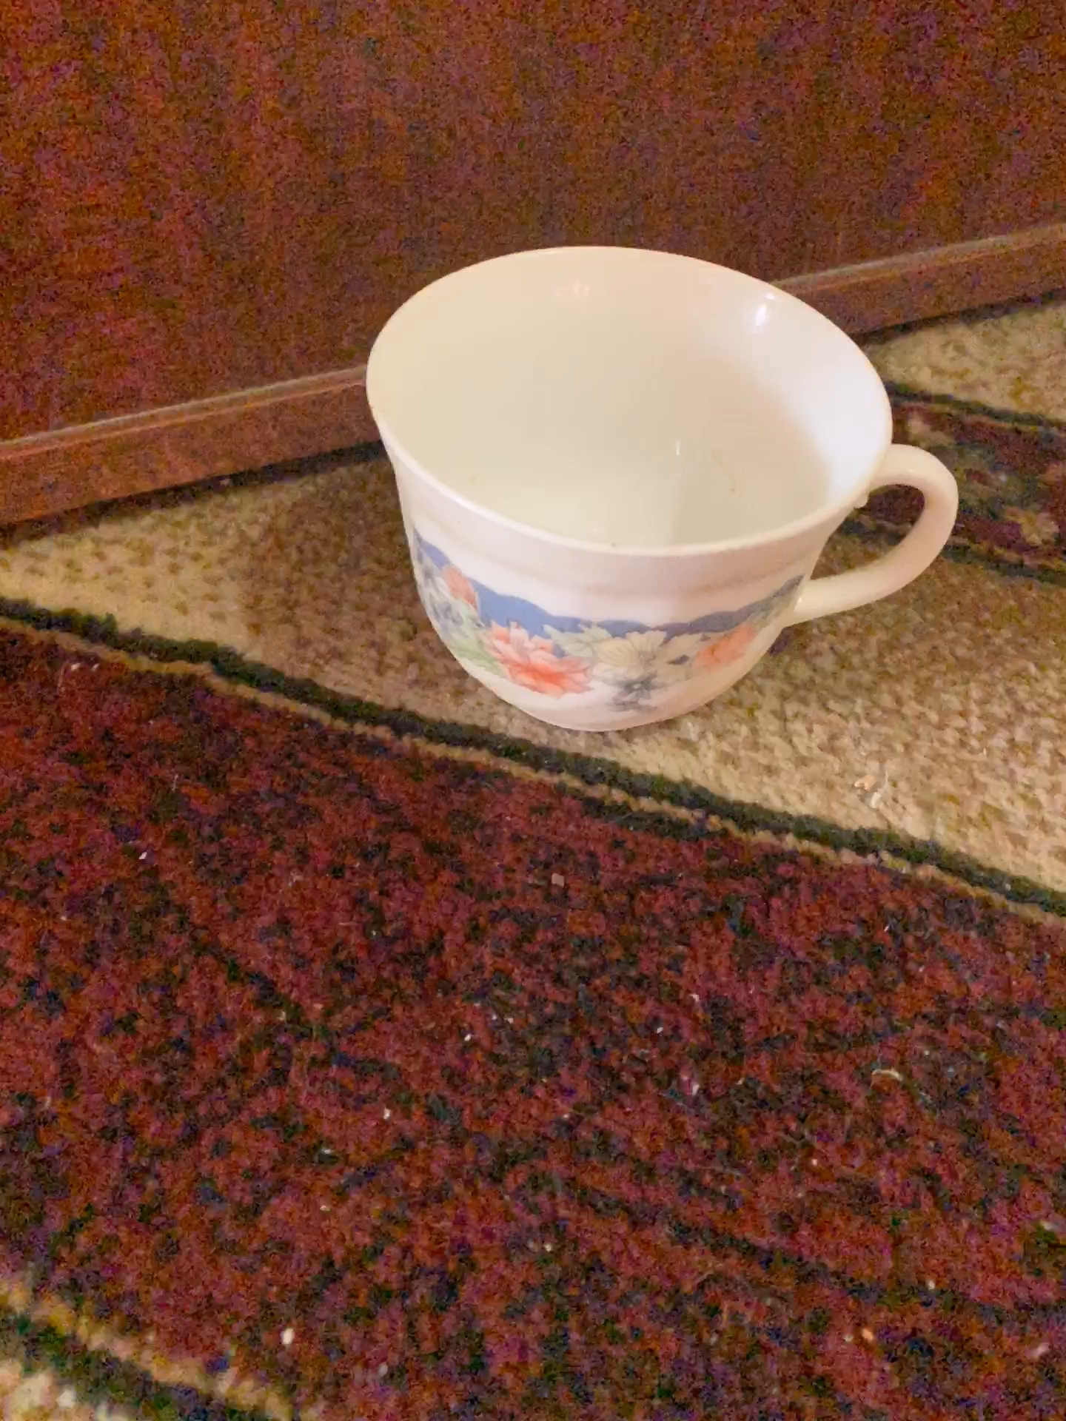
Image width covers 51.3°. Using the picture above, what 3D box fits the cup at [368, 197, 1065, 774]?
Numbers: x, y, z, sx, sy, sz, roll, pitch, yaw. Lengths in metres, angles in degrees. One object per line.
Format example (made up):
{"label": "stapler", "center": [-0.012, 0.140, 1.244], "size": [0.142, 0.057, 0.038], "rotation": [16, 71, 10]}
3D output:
{"label": "cup", "center": [0.031, -0.041, 0.185], "size": [0.109, 0.053, 0.083], "rotation": [-2, 48, -4]}
